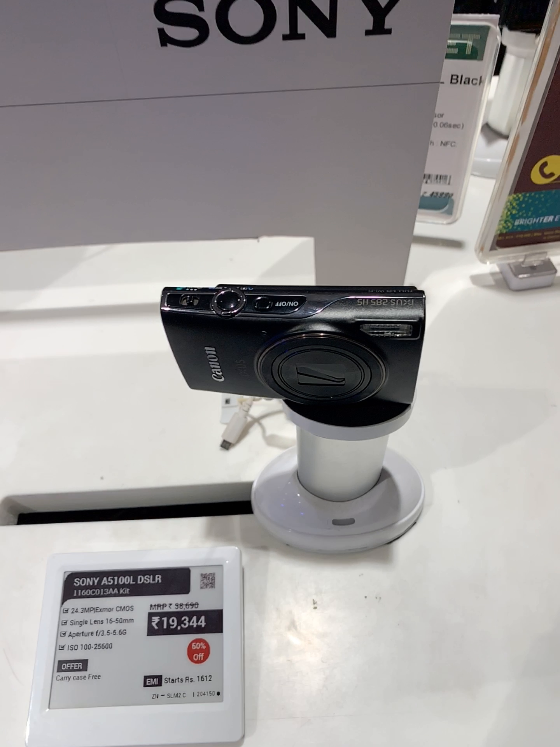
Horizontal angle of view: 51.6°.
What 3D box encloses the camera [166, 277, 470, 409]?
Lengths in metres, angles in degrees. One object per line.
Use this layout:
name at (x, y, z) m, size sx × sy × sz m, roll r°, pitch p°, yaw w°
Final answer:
camera at (0.013, -0.010, 0.217) m, size 0.100 × 0.050 × 0.020 m, roll 2°, pitch 55°, yaw 4°
